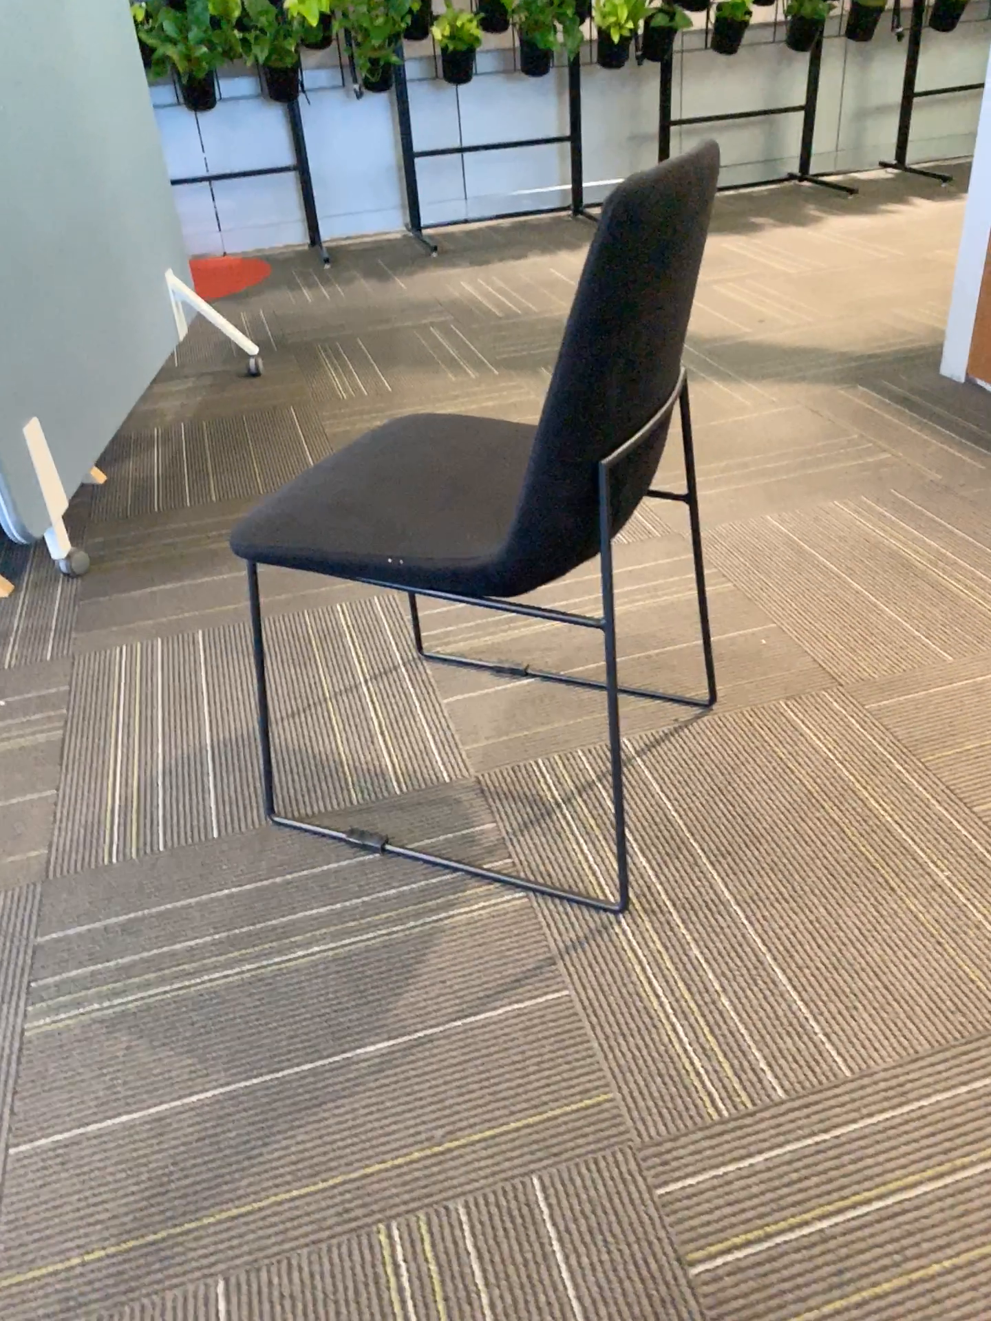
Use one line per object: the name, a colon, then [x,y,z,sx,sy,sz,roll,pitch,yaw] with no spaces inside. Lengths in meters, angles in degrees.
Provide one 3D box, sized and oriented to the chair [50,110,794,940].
chair: [-0.017,-0.186,1.193,0.571,0.745,0.492,10,36,23]
